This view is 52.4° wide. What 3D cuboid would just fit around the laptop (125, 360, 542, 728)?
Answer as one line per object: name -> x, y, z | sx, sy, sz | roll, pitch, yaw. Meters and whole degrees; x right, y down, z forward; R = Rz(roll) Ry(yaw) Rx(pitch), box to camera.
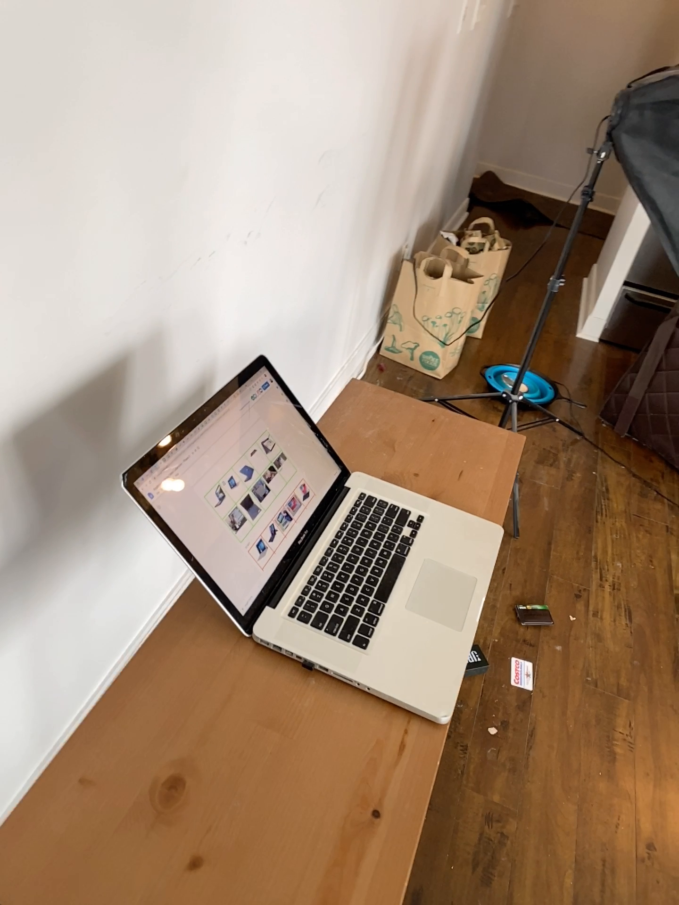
laptop -> 0.009, 0.084, 0.922 | 0.435, 0.155, 0.361 | 20, 37, 12
